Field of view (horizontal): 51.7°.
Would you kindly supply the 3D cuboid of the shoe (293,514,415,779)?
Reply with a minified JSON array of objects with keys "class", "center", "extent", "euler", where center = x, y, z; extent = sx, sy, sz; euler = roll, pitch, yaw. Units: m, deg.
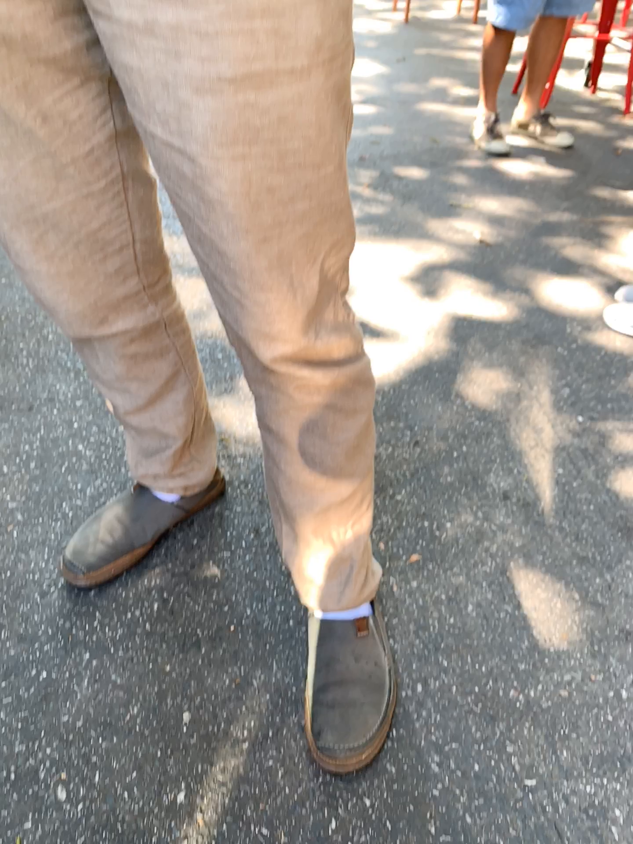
[{"class":"shoe","center":[0.036,0.269,0.841],"extent":[0.120,0.080,0.322],"euler":[-2,40,-2]}]

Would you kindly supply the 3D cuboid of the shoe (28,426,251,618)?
[{"class":"shoe","center":[-0.253,0.136,0.989],"extent":[0.120,0.060,0.321],"euler":[26,47,28]}]
